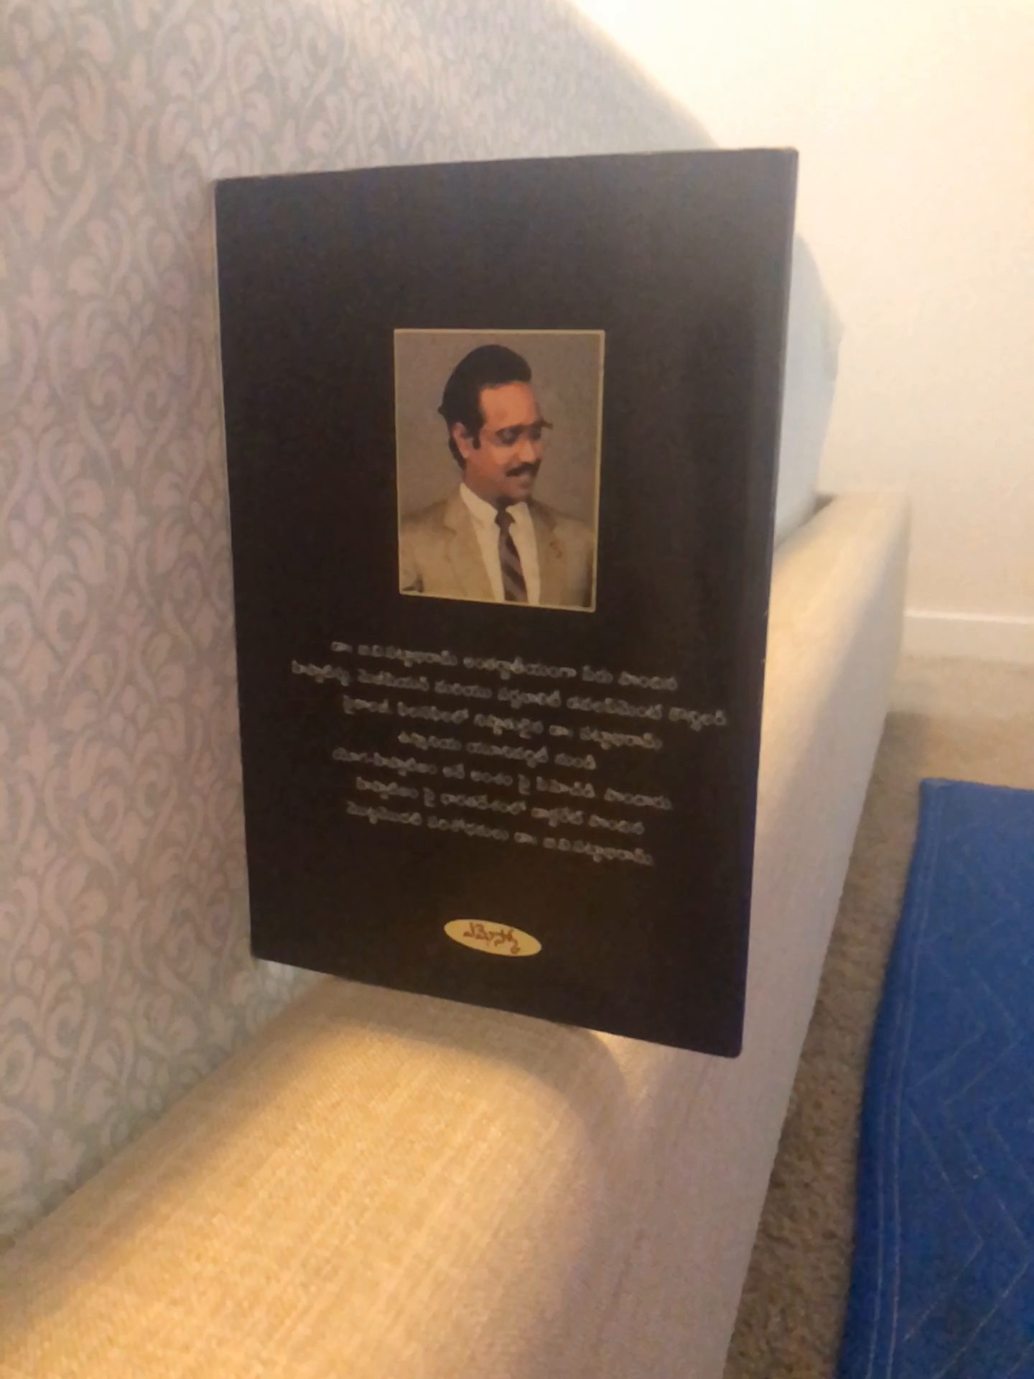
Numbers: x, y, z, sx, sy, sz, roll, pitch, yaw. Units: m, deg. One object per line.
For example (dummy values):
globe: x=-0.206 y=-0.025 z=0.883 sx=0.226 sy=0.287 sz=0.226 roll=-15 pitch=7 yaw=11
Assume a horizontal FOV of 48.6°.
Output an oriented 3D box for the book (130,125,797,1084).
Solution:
book: x=-0.012 y=-0.012 z=0.232 sx=0.127 sy=0.175 sz=0.011 roll=4 pitch=15 yaw=18
